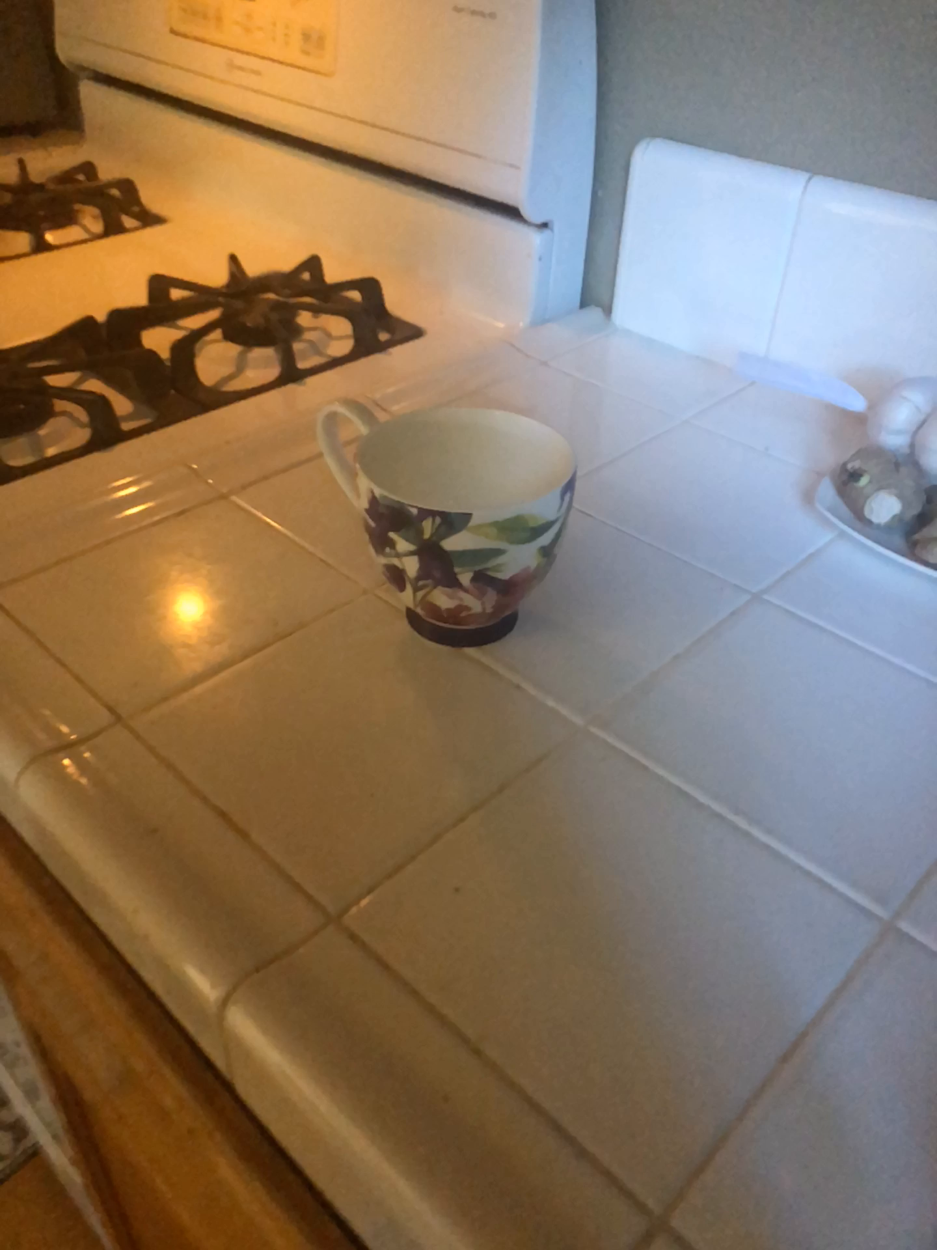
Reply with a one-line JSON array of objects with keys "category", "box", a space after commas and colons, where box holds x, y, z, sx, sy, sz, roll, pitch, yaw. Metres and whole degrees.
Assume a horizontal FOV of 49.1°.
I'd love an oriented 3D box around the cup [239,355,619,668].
[{"category": "cup", "box": [-0.018, -0.065, 0.525, 0.150, 0.079, 0.111, 20, 41, 22]}]
